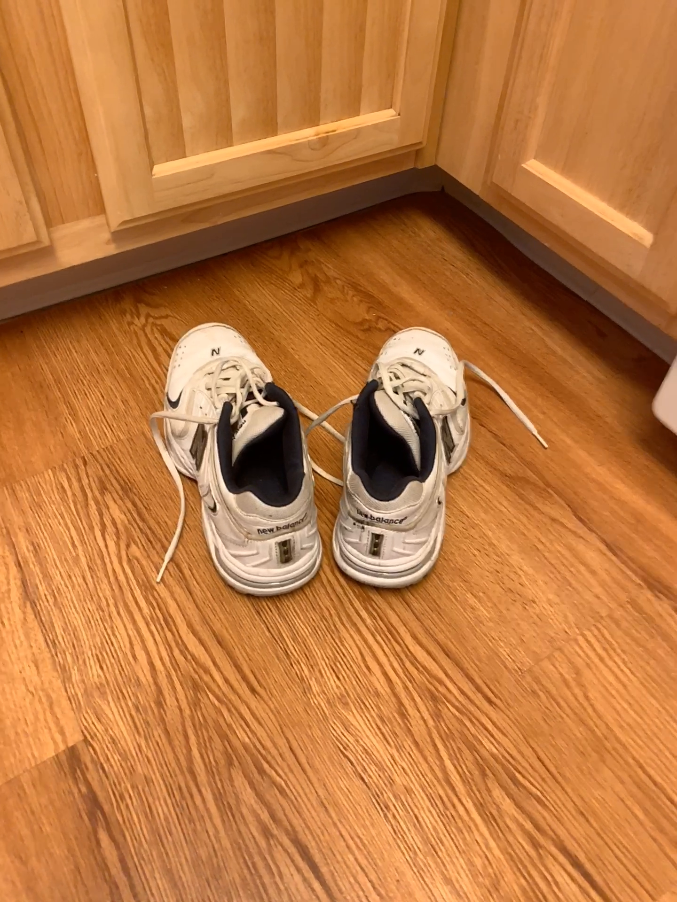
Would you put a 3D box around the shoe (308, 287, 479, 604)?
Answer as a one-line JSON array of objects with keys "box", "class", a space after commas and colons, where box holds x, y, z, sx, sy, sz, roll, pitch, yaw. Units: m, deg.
[{"box": [0.057, -0.018, 0.651, 0.110, 0.109, 0.281, 10, 49, 5], "class": "shoe"}]

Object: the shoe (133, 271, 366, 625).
[{"box": [-0.084, -0.017, 0.587, 0.110, 0.109, 0.281, -14, 52, -15], "class": "shoe"}]
